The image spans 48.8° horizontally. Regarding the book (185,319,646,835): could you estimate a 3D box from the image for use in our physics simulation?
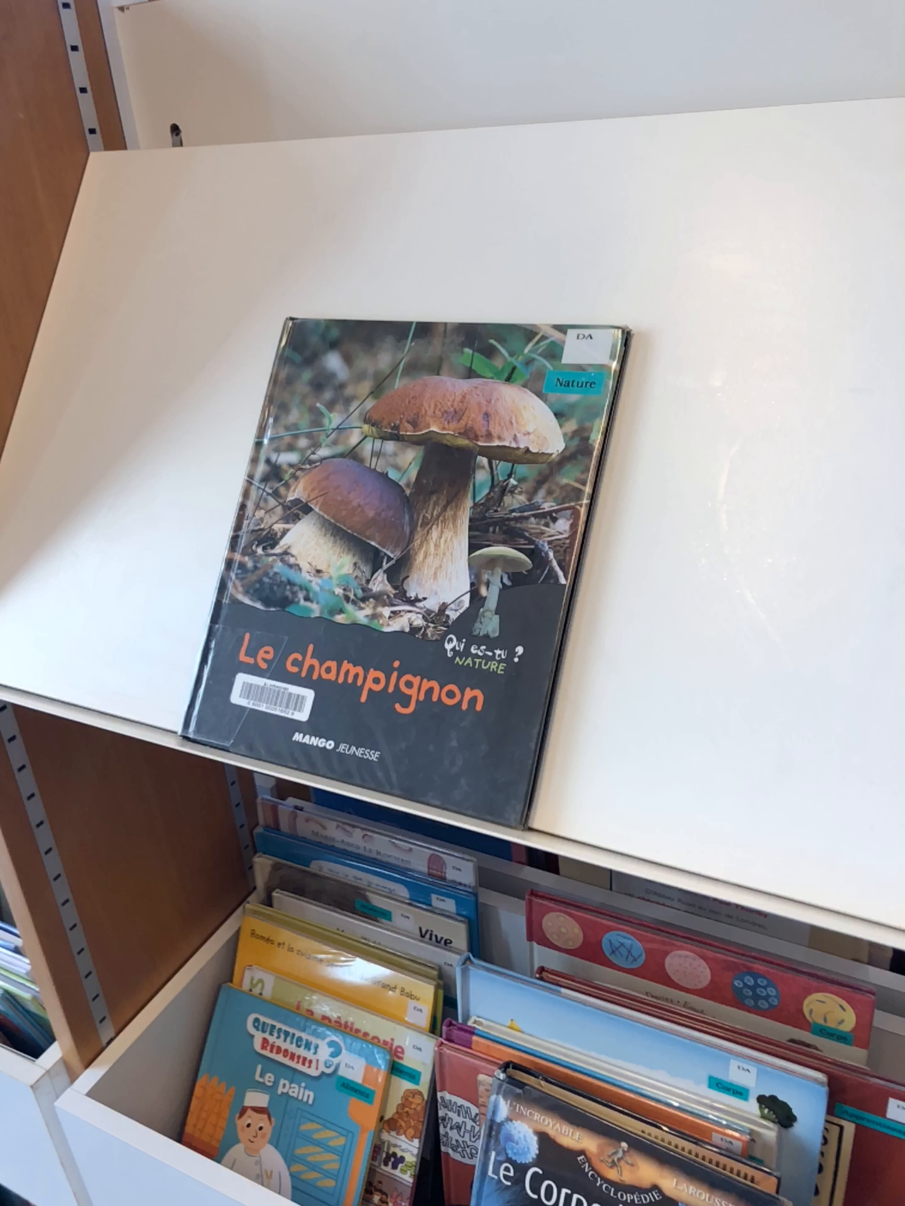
[{"bbox_3d":[-0.024,-0.027,0.513,0.202,0.242,0.020,9,-8,27],"label":"book"}]
